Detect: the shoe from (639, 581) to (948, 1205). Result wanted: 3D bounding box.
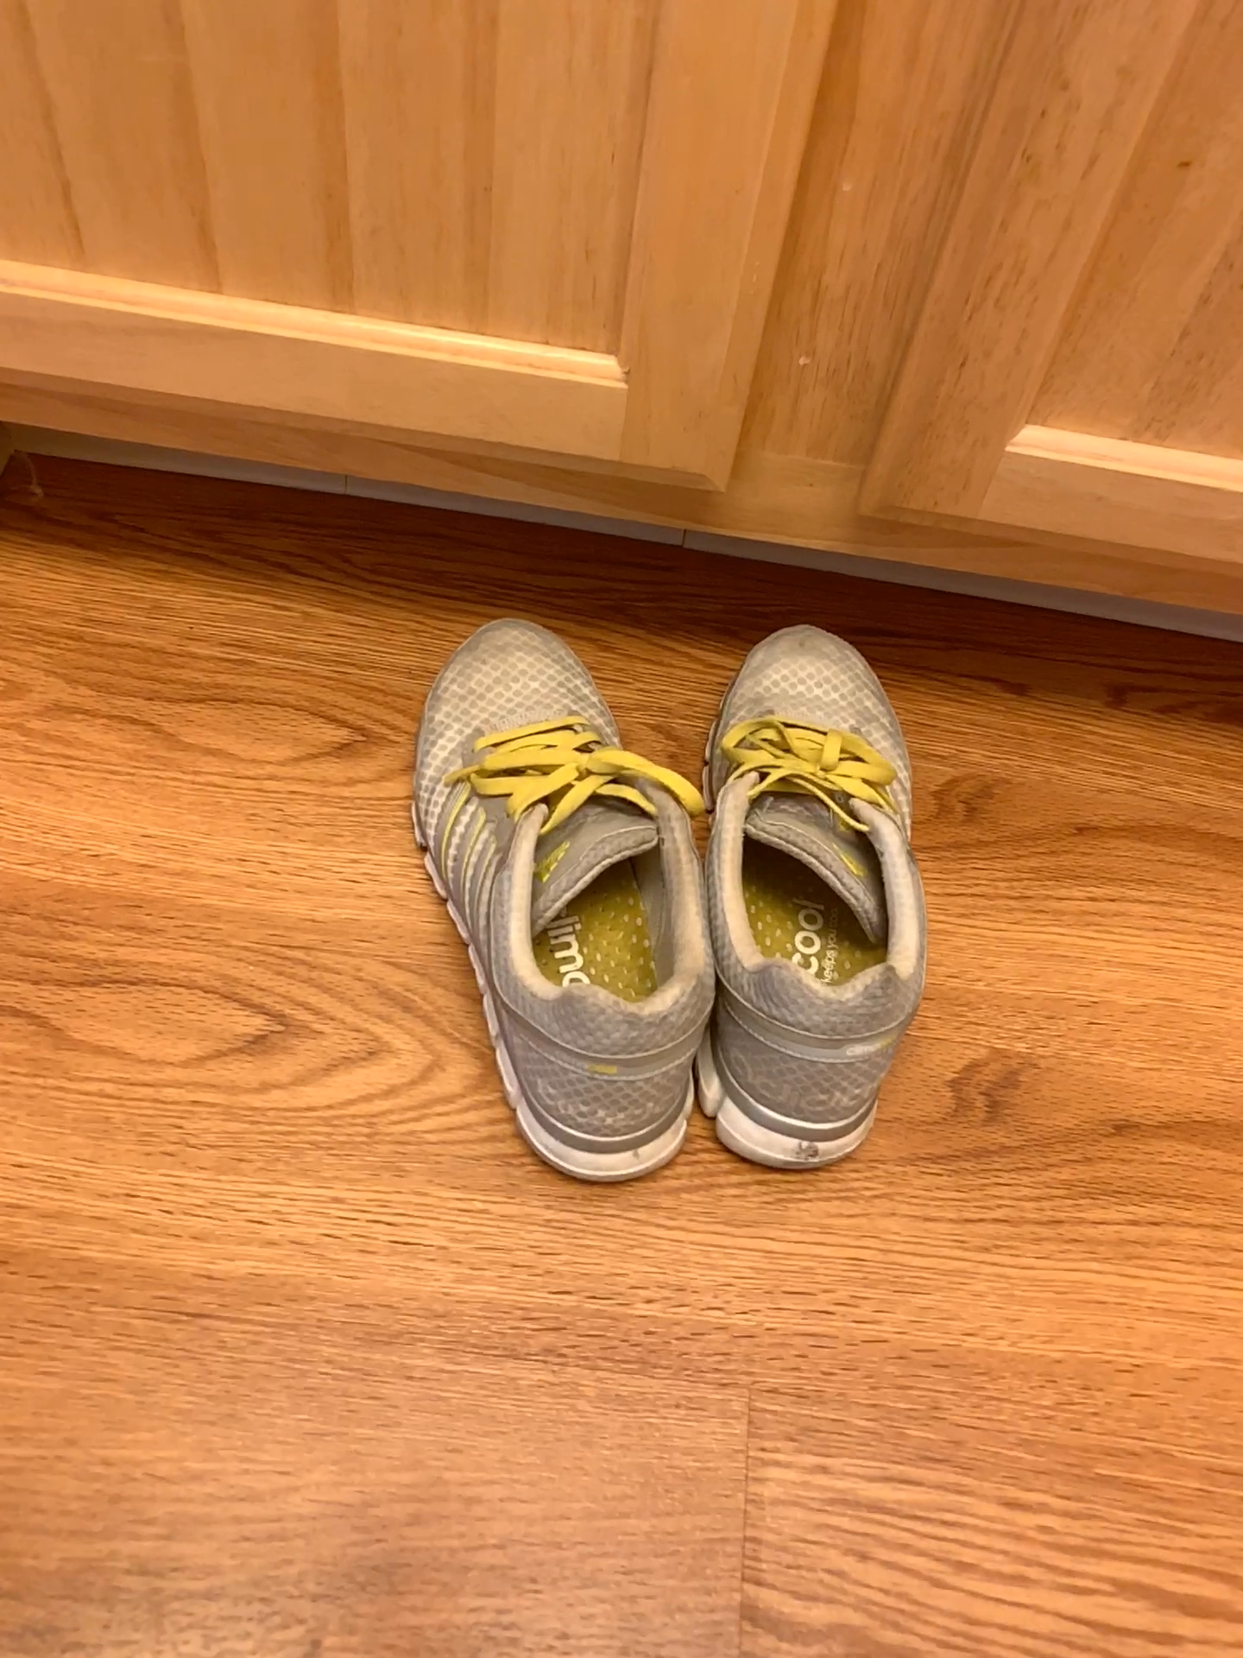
[{"bbox_3d":[0.075,0.024,0.547,0.090,0.129,0.221,11,54,0],"label":"shoe"}]

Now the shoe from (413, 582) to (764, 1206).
[{"bbox_3d":[-0.027,0.023,0.561,0.090,0.129,0.231,-8,56,-13],"label":"shoe"}]
